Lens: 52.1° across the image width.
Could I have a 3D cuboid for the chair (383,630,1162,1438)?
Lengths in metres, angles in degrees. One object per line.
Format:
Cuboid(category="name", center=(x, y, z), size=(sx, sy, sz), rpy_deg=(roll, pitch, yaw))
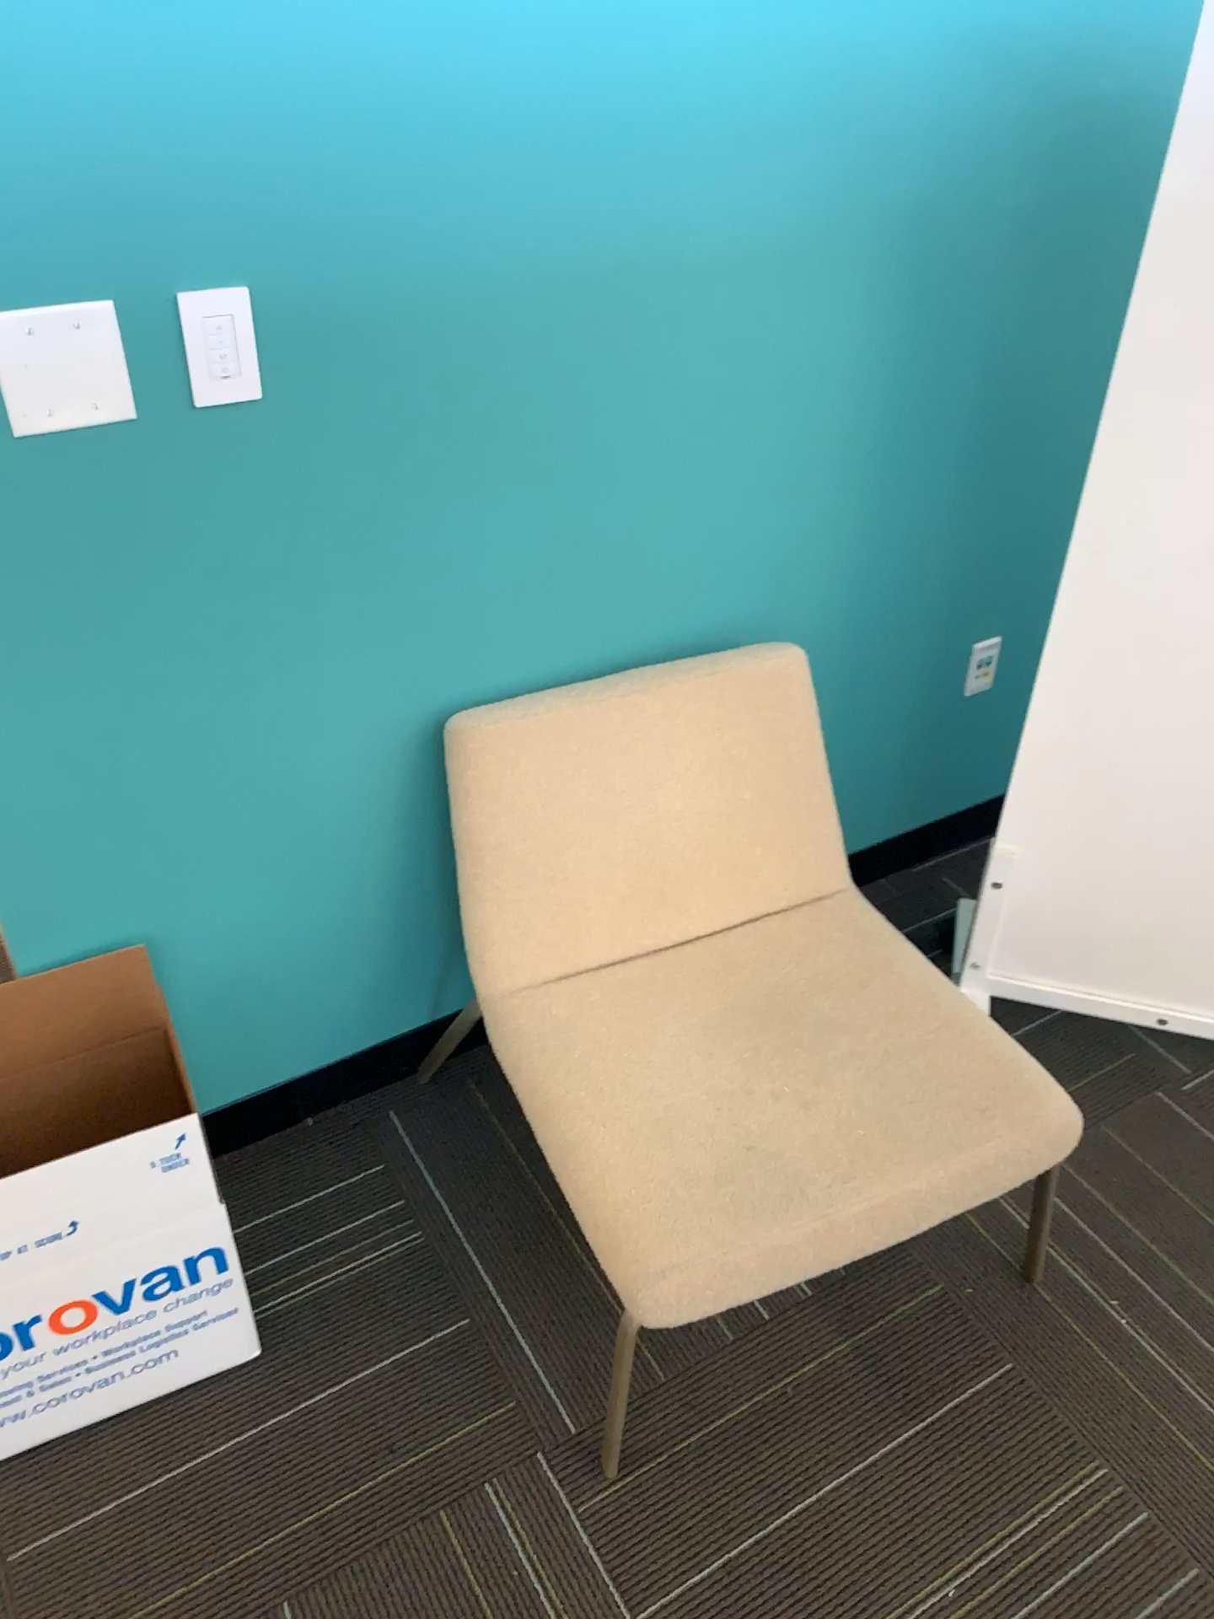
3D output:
Cuboid(category="chair", center=(0.153, 0.231, 1.684), size=(0.660, 0.567, 0.734), rpy_deg=(-15, 39, -22))
